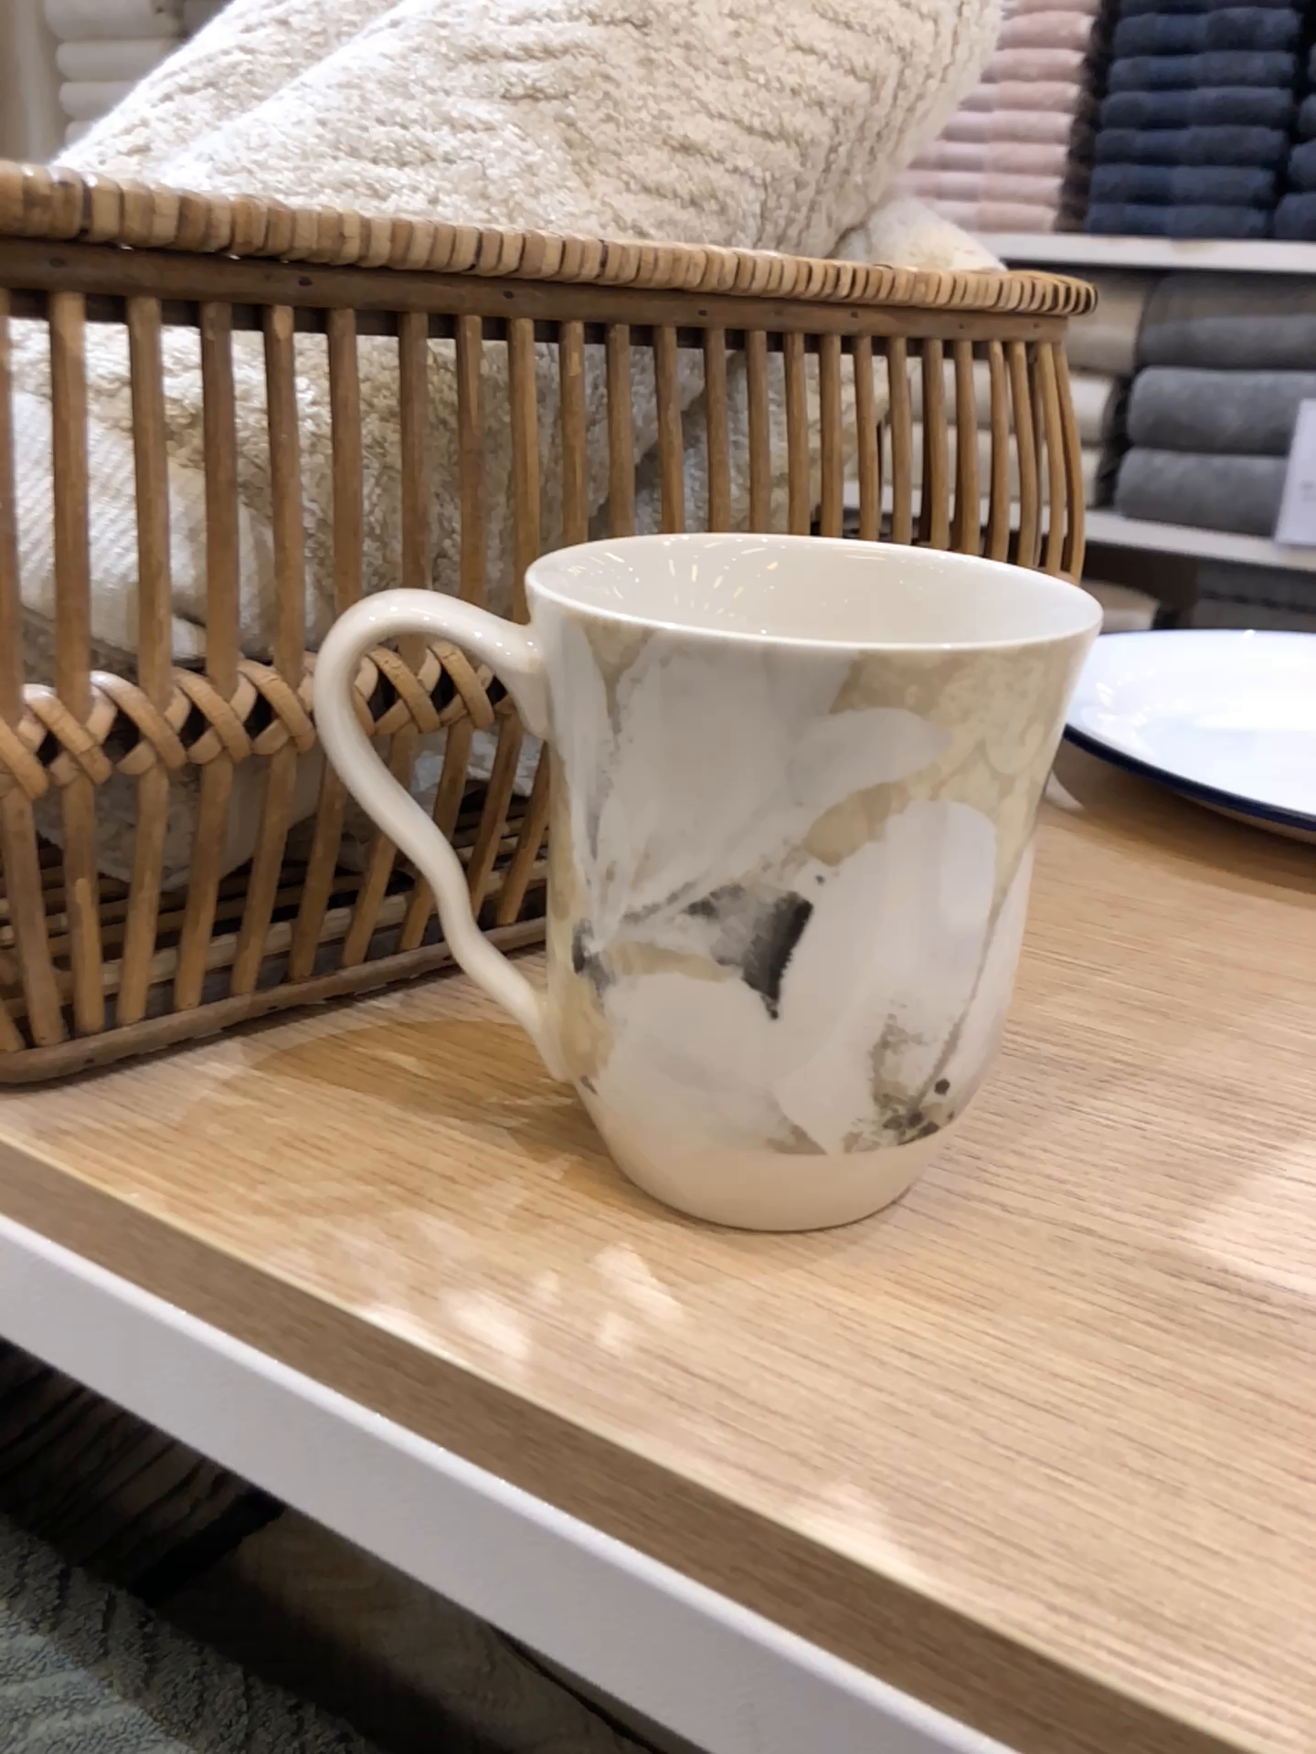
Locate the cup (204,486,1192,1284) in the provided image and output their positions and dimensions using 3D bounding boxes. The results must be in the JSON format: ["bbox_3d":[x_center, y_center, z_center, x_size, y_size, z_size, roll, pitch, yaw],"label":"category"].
[{"bbox_3d":[0.005,-0.006,0.251,0.130,0.099,0.091,5,21,3],"label":"cup"}]
